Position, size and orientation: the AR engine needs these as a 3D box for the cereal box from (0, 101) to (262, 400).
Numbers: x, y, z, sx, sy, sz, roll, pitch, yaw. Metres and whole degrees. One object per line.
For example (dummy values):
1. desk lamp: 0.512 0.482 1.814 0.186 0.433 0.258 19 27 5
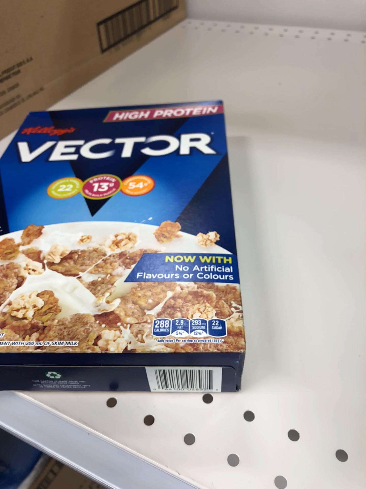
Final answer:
1. cereal box: -0.062 -0.026 0.332 0.210 0.050 0.291 -1 42 3
